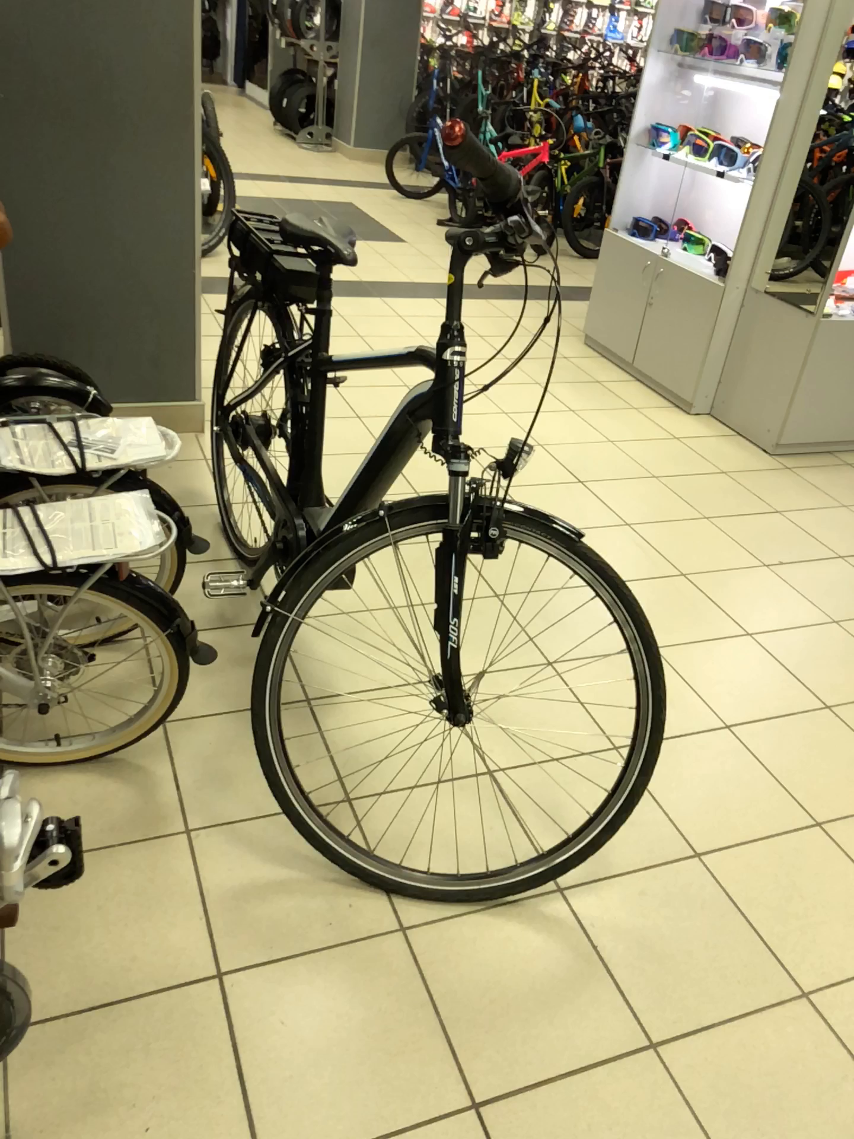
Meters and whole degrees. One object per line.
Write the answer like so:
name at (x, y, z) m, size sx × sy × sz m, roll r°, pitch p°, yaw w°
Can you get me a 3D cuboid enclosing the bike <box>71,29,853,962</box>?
bike at (-0.085, -0.315, 1.992) m, size 0.697 × 1.176 × 1.617 m, roll -14°, pitch 39°, yaw -34°
